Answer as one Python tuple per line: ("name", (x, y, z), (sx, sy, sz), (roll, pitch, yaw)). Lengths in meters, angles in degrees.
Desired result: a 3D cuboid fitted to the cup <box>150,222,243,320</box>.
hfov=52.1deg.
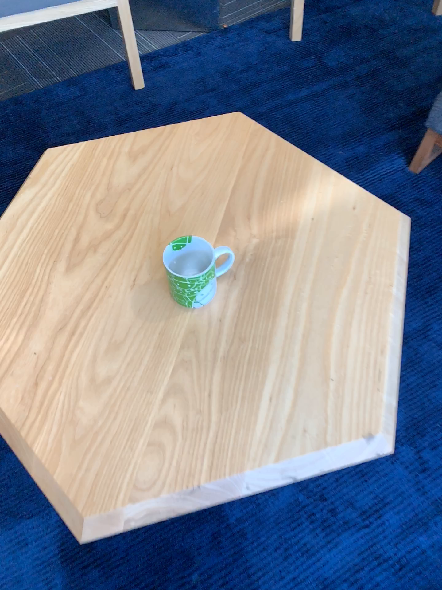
("cup", (-0.036, -0.037, 0.704), (0.110, 0.080, 0.090), (-23, 62, -12))
